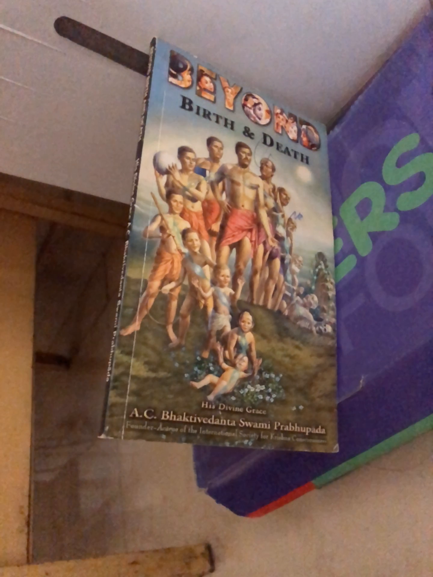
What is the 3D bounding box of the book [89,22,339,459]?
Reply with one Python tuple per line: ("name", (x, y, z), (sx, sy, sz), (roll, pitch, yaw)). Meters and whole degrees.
("book", (0.013, -0.022, 0.235), (0.010, 0.119, 0.190), (-23, 56, 53))
